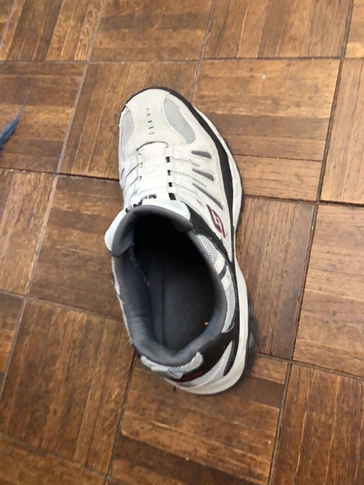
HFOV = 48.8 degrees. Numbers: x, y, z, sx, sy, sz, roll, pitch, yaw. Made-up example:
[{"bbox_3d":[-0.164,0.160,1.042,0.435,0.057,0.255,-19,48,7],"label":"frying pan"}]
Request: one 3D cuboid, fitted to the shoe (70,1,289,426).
[{"bbox_3d":[0.001,-0.020,0.378,0.120,0.150,0.320,-13,74,15],"label":"shoe"}]
